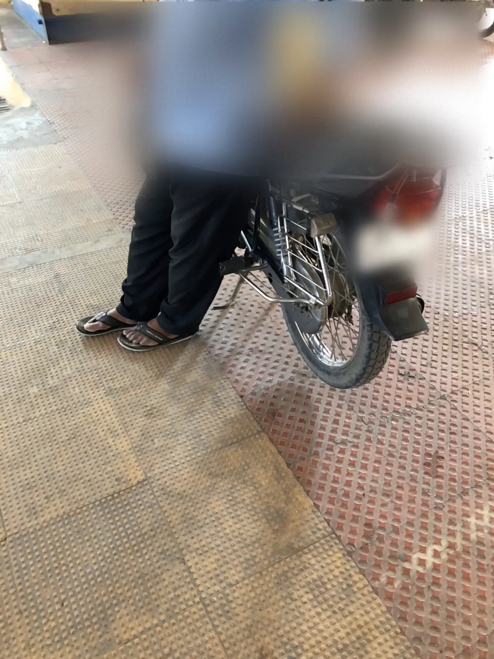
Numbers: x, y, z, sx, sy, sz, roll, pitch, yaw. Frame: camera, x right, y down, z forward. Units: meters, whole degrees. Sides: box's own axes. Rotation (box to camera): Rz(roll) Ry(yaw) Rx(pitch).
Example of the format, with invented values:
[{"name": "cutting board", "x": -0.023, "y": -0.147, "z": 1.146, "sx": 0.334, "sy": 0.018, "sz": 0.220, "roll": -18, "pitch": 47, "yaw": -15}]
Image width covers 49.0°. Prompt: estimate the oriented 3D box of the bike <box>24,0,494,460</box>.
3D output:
[{"name": "bike", "x": -0.079, "y": -0.615, "z": 1.806, "sx": 0.679, "sy": 1.036, "sz": 1.681, "roll": -18, "pitch": 44, "yaw": -22}]
